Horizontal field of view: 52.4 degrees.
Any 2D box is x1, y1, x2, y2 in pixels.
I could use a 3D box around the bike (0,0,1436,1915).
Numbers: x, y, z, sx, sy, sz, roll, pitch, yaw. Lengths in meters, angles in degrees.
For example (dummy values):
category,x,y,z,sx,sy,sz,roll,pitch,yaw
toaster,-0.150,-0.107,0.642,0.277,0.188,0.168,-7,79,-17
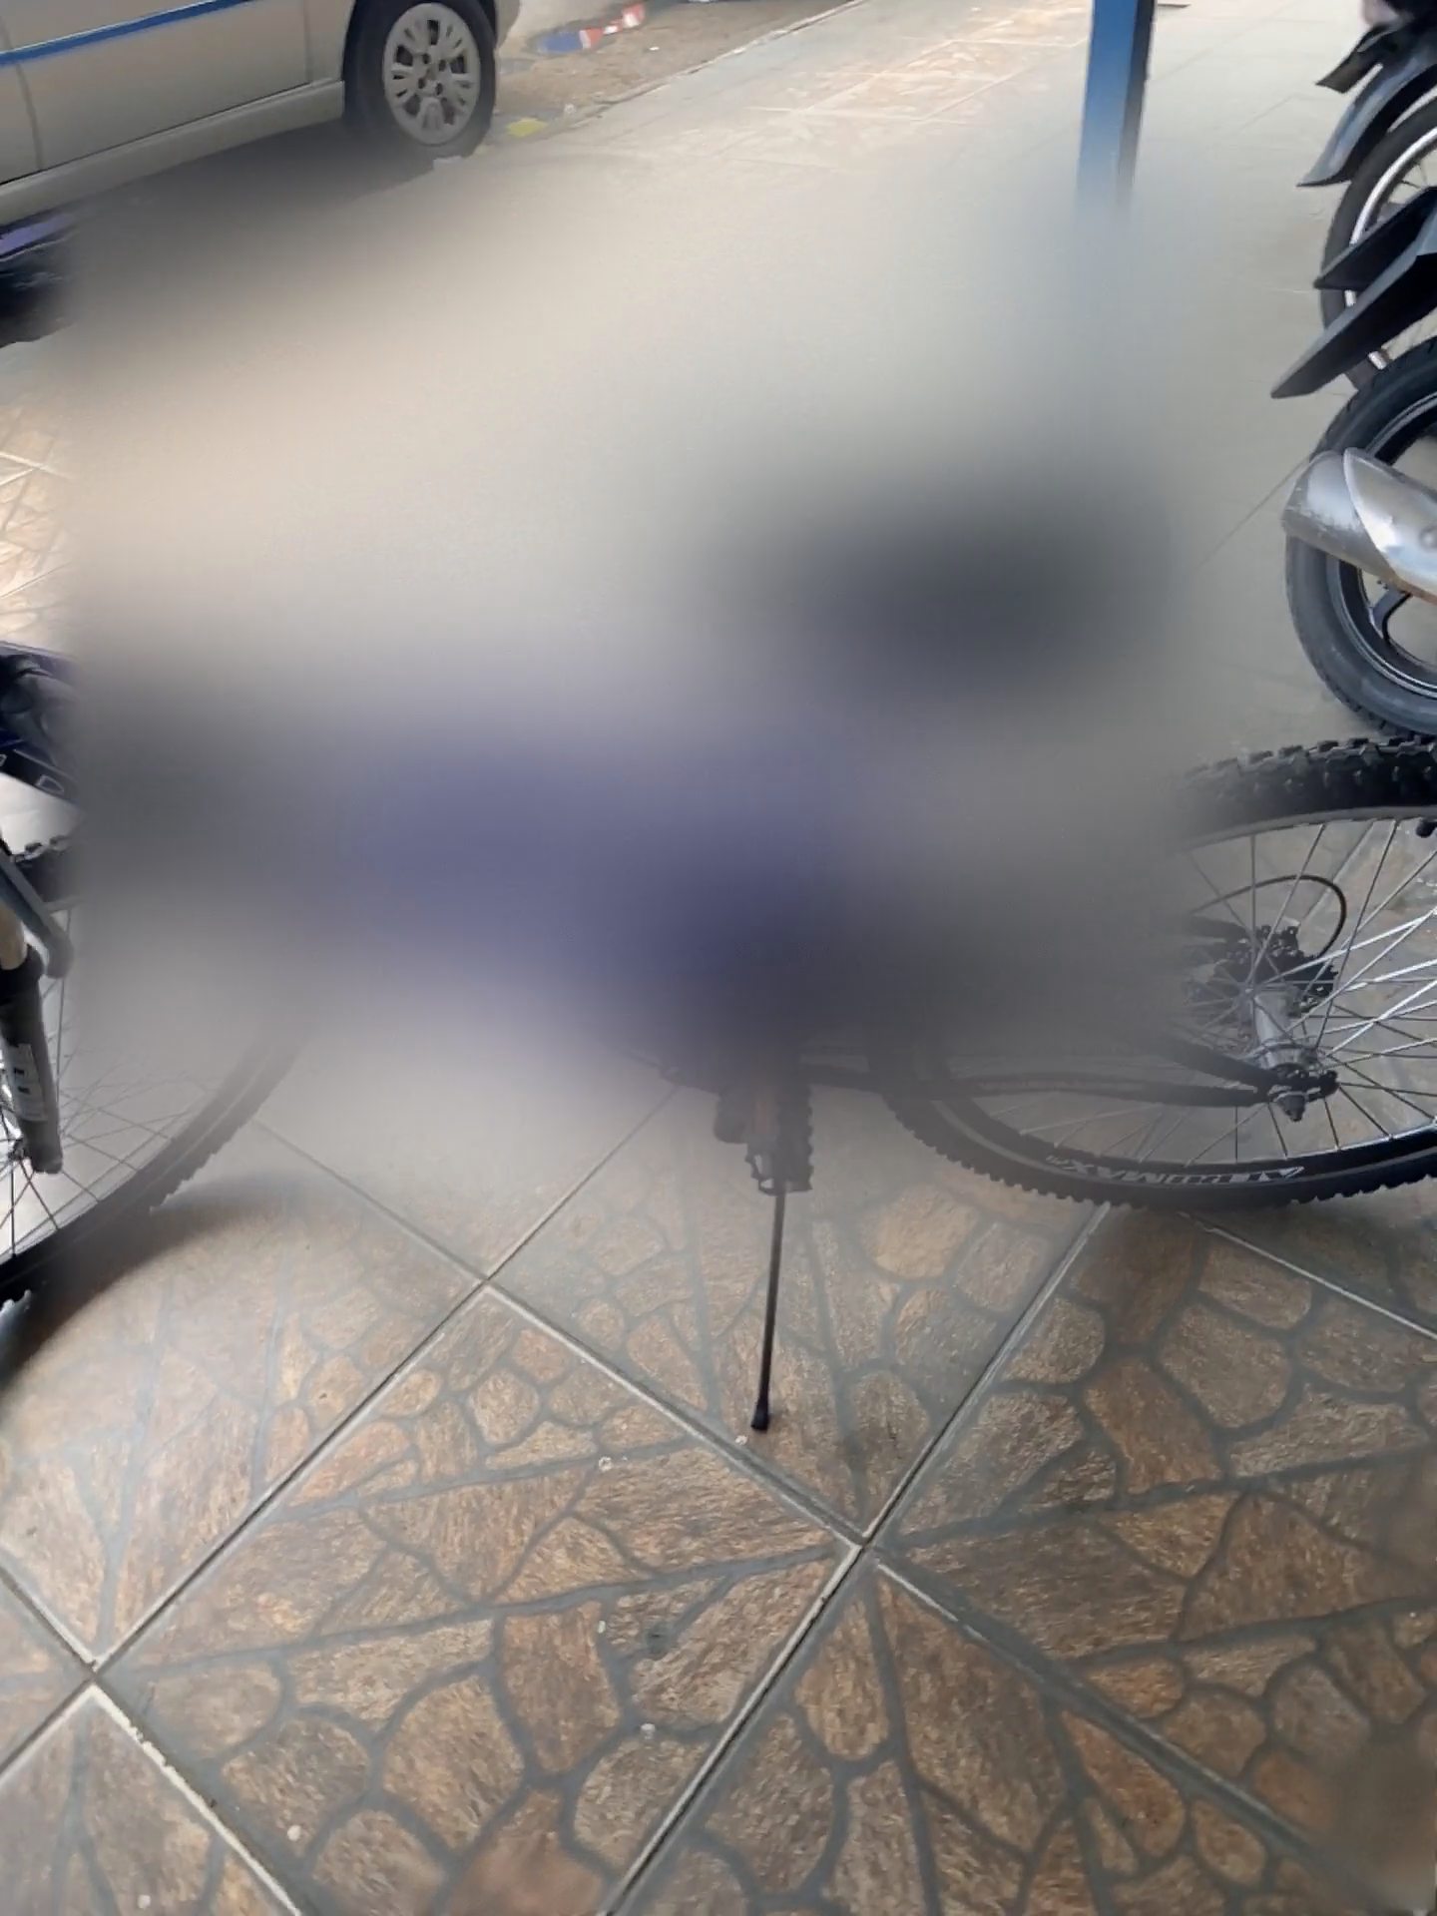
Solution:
category,x,y,z,sx,sy,sz,roll,pitch,yaw
bike,-0.036,0.165,0.942,1.610,1.019,0.517,-9,44,0
